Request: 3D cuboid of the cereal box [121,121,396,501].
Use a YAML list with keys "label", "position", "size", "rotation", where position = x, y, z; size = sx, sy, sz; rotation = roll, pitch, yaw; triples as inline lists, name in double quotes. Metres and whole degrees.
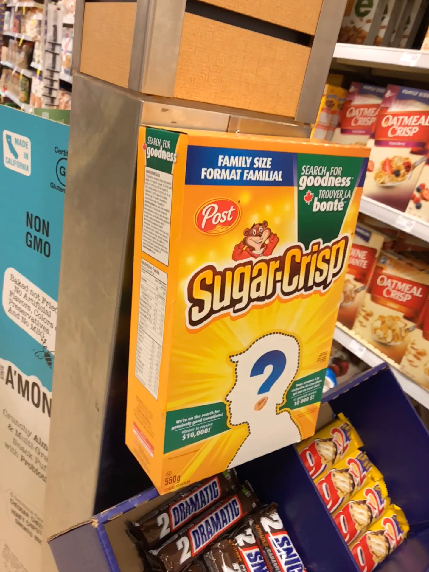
- label: "cereal box"
  position: [0.037, 0.014, 0.442]
  size: [0.220, 0.299, 0.080]
  rotation: [-7, 22, -34]
